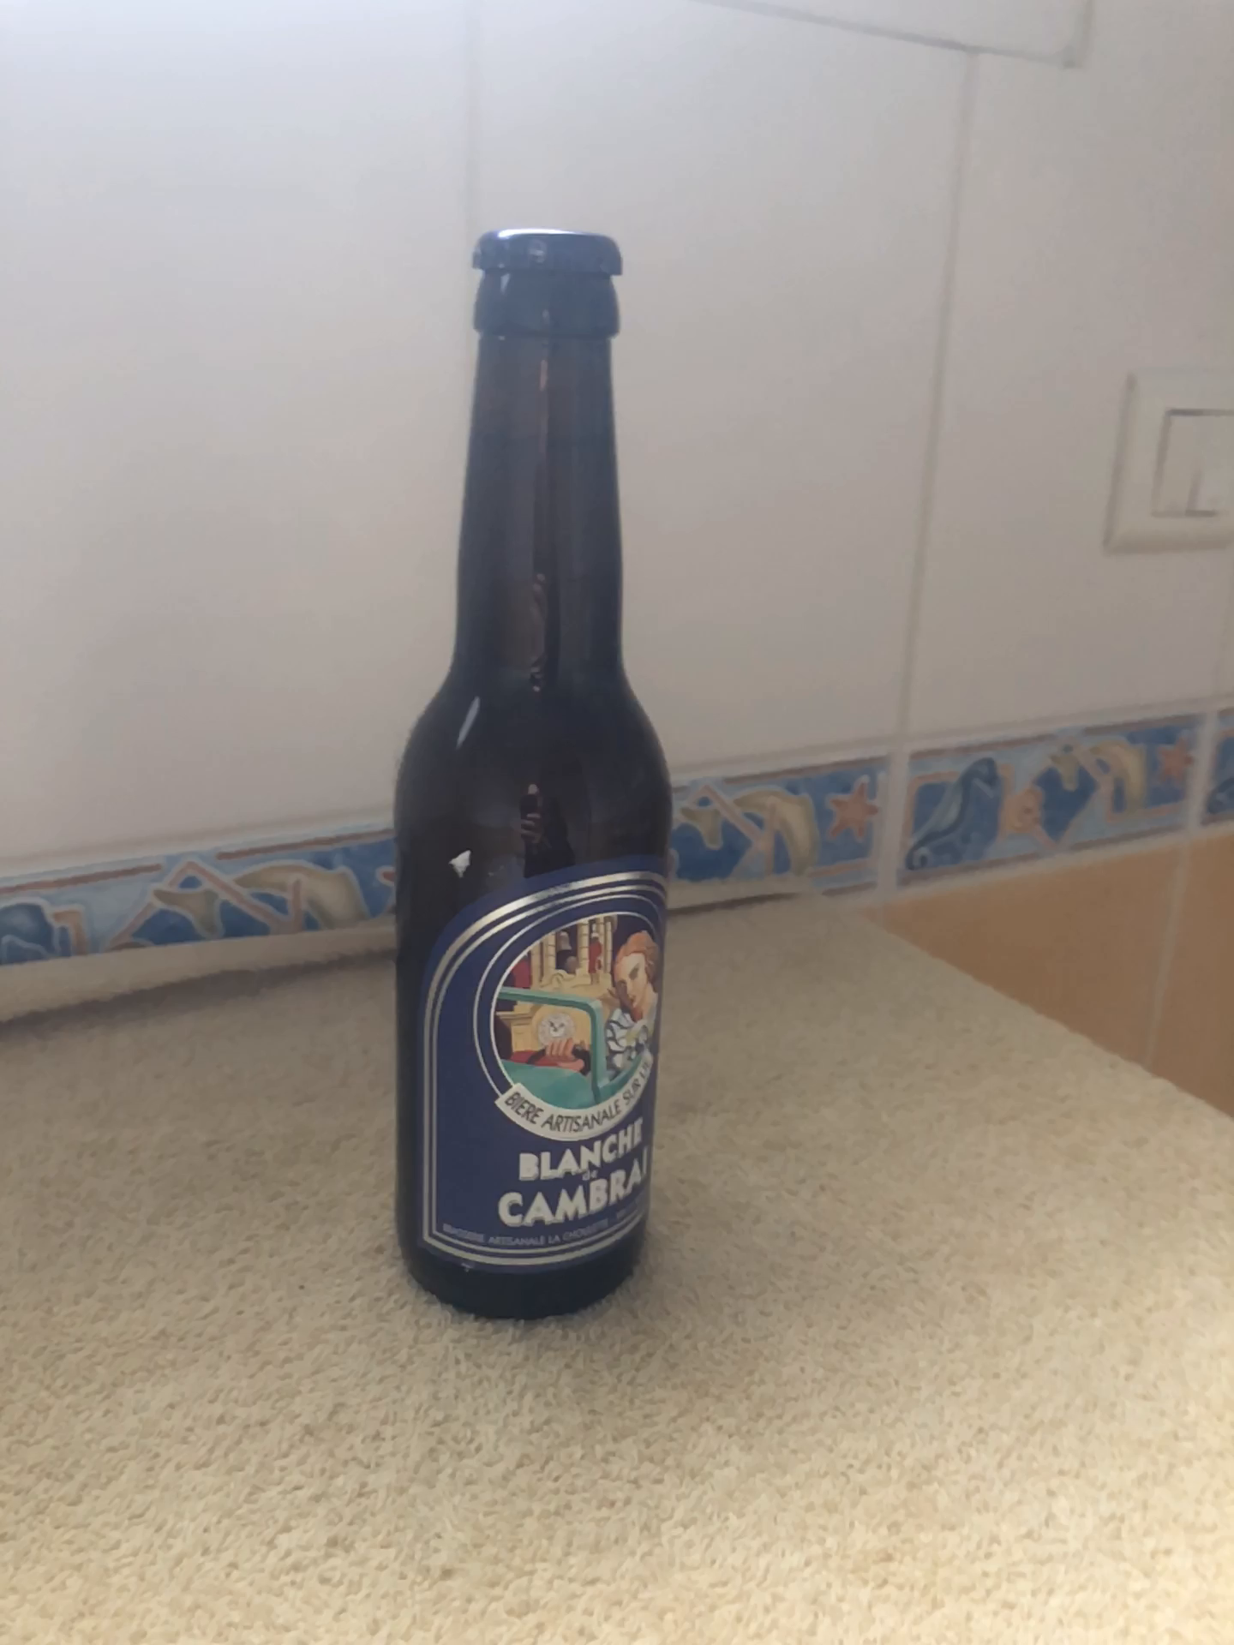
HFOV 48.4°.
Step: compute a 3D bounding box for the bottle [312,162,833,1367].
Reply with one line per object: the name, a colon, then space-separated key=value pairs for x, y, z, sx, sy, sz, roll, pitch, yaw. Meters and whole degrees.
bottle: x=-0.014 y=-0.011 z=0.287 sx=0.070 sy=0.219 sz=0.070 roll=2 pitch=18 yaw=-1
